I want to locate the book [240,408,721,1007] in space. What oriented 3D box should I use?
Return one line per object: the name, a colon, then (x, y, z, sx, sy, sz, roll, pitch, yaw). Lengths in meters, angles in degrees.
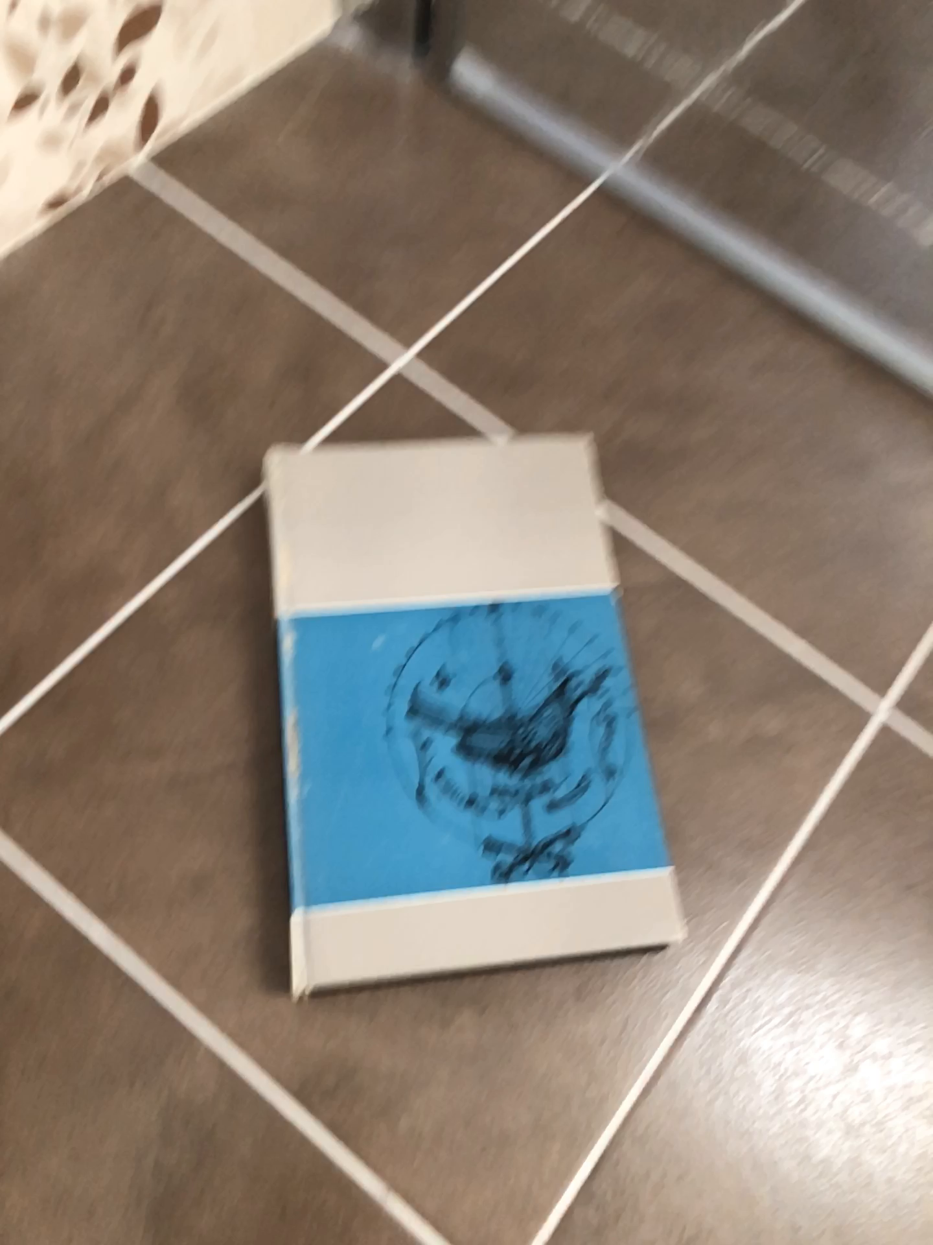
book: (-0.006, 0.027, 0.532, 0.210, 0.040, 0.300, -3, 66, -8)
